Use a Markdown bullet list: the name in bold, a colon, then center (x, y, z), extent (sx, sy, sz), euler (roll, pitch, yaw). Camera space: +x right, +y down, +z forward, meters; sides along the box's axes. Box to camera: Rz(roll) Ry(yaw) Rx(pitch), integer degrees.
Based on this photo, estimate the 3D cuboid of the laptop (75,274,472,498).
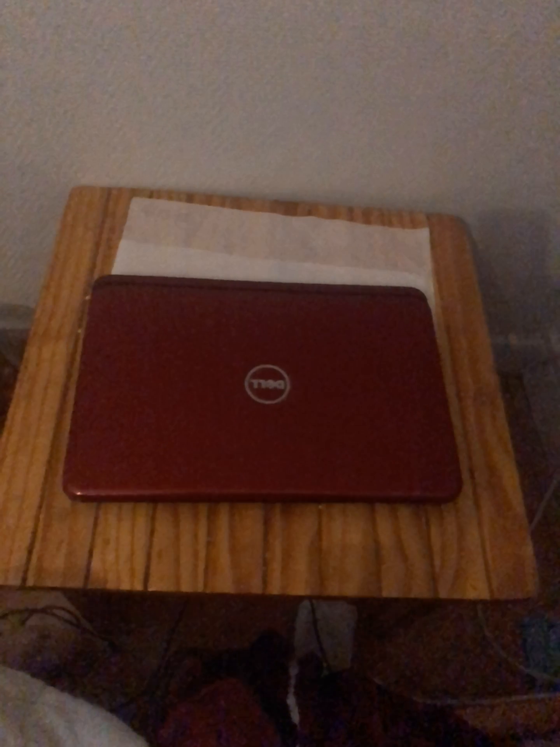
- **laptop**: center (-0.004, 0.005, 0.636), extent (0.365, 0.011, 0.247), euler (1, 59, -5)
